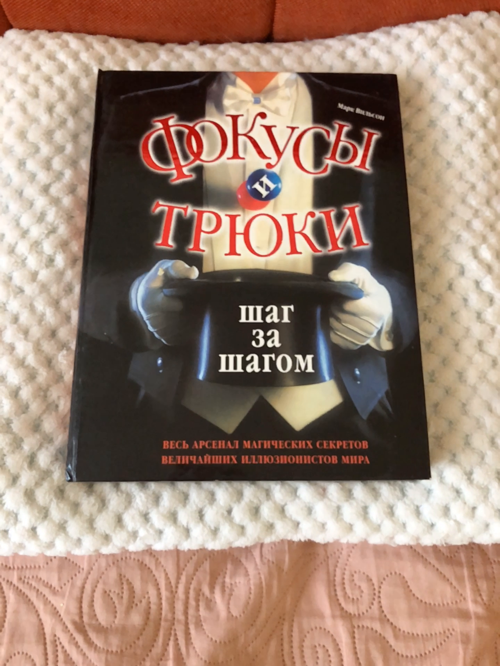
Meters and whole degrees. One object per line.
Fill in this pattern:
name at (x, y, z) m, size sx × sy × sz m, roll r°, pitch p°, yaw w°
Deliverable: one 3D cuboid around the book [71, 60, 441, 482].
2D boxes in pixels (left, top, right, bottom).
book at (0.002, -0.046, 0.354) m, size 0.200 × 0.040 × 0.270 m, roll 0°, pitch 75°, yaw -1°
